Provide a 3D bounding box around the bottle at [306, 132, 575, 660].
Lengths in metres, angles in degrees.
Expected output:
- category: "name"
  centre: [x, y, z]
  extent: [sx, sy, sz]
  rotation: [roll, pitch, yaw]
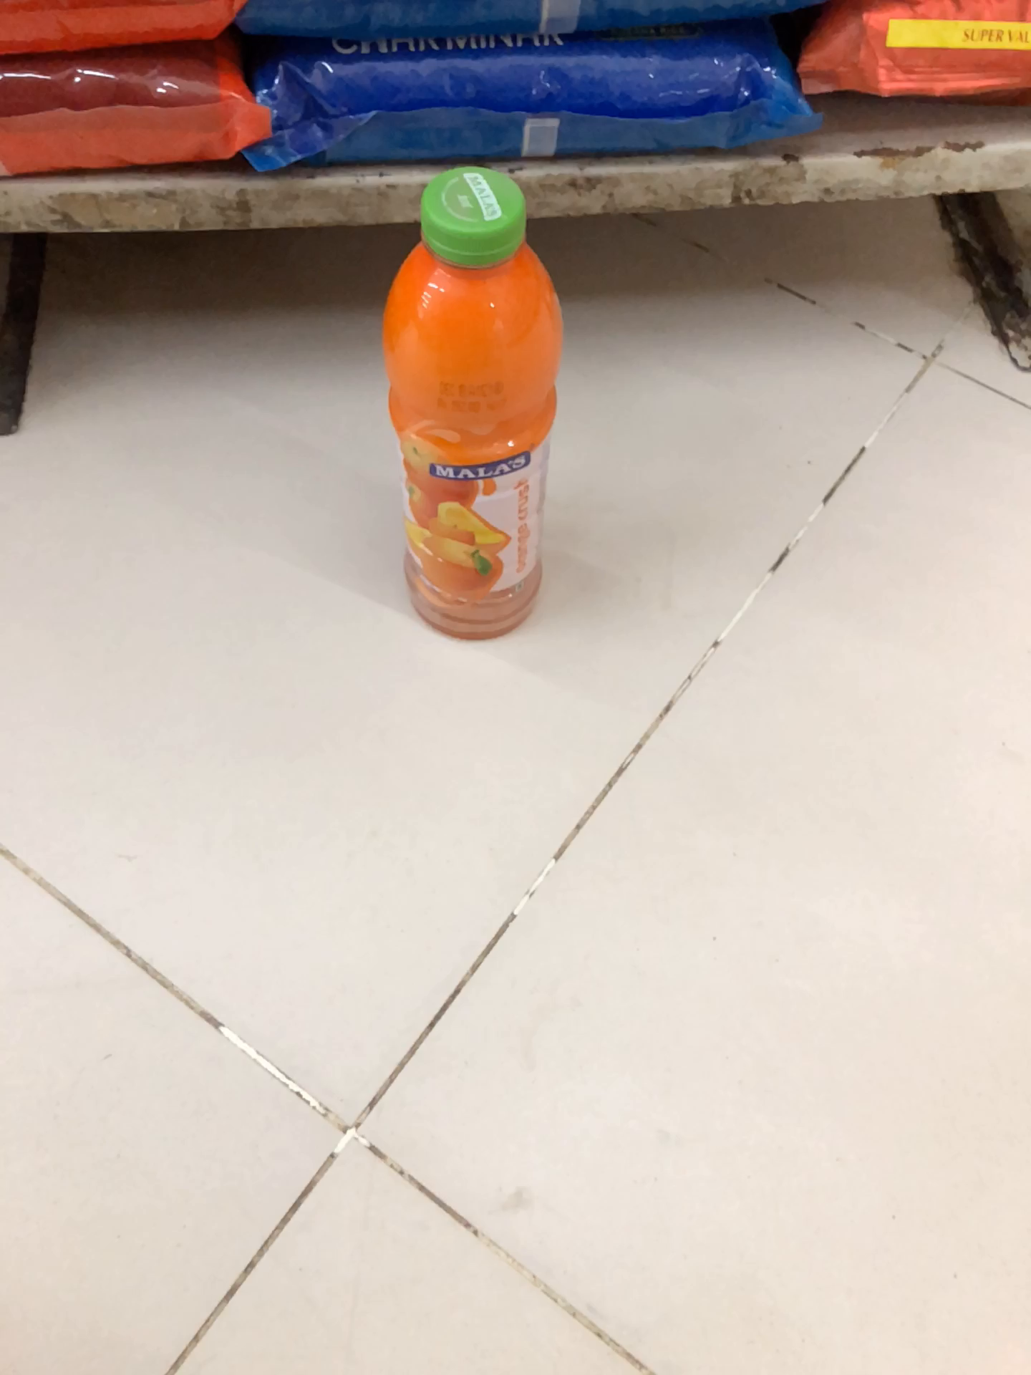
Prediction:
- category: "bottle"
  centre: [-0.029, -0.117, 0.530]
  extent: [0.090, 0.239, 0.090]
  rotation: [1, 61, -2]
